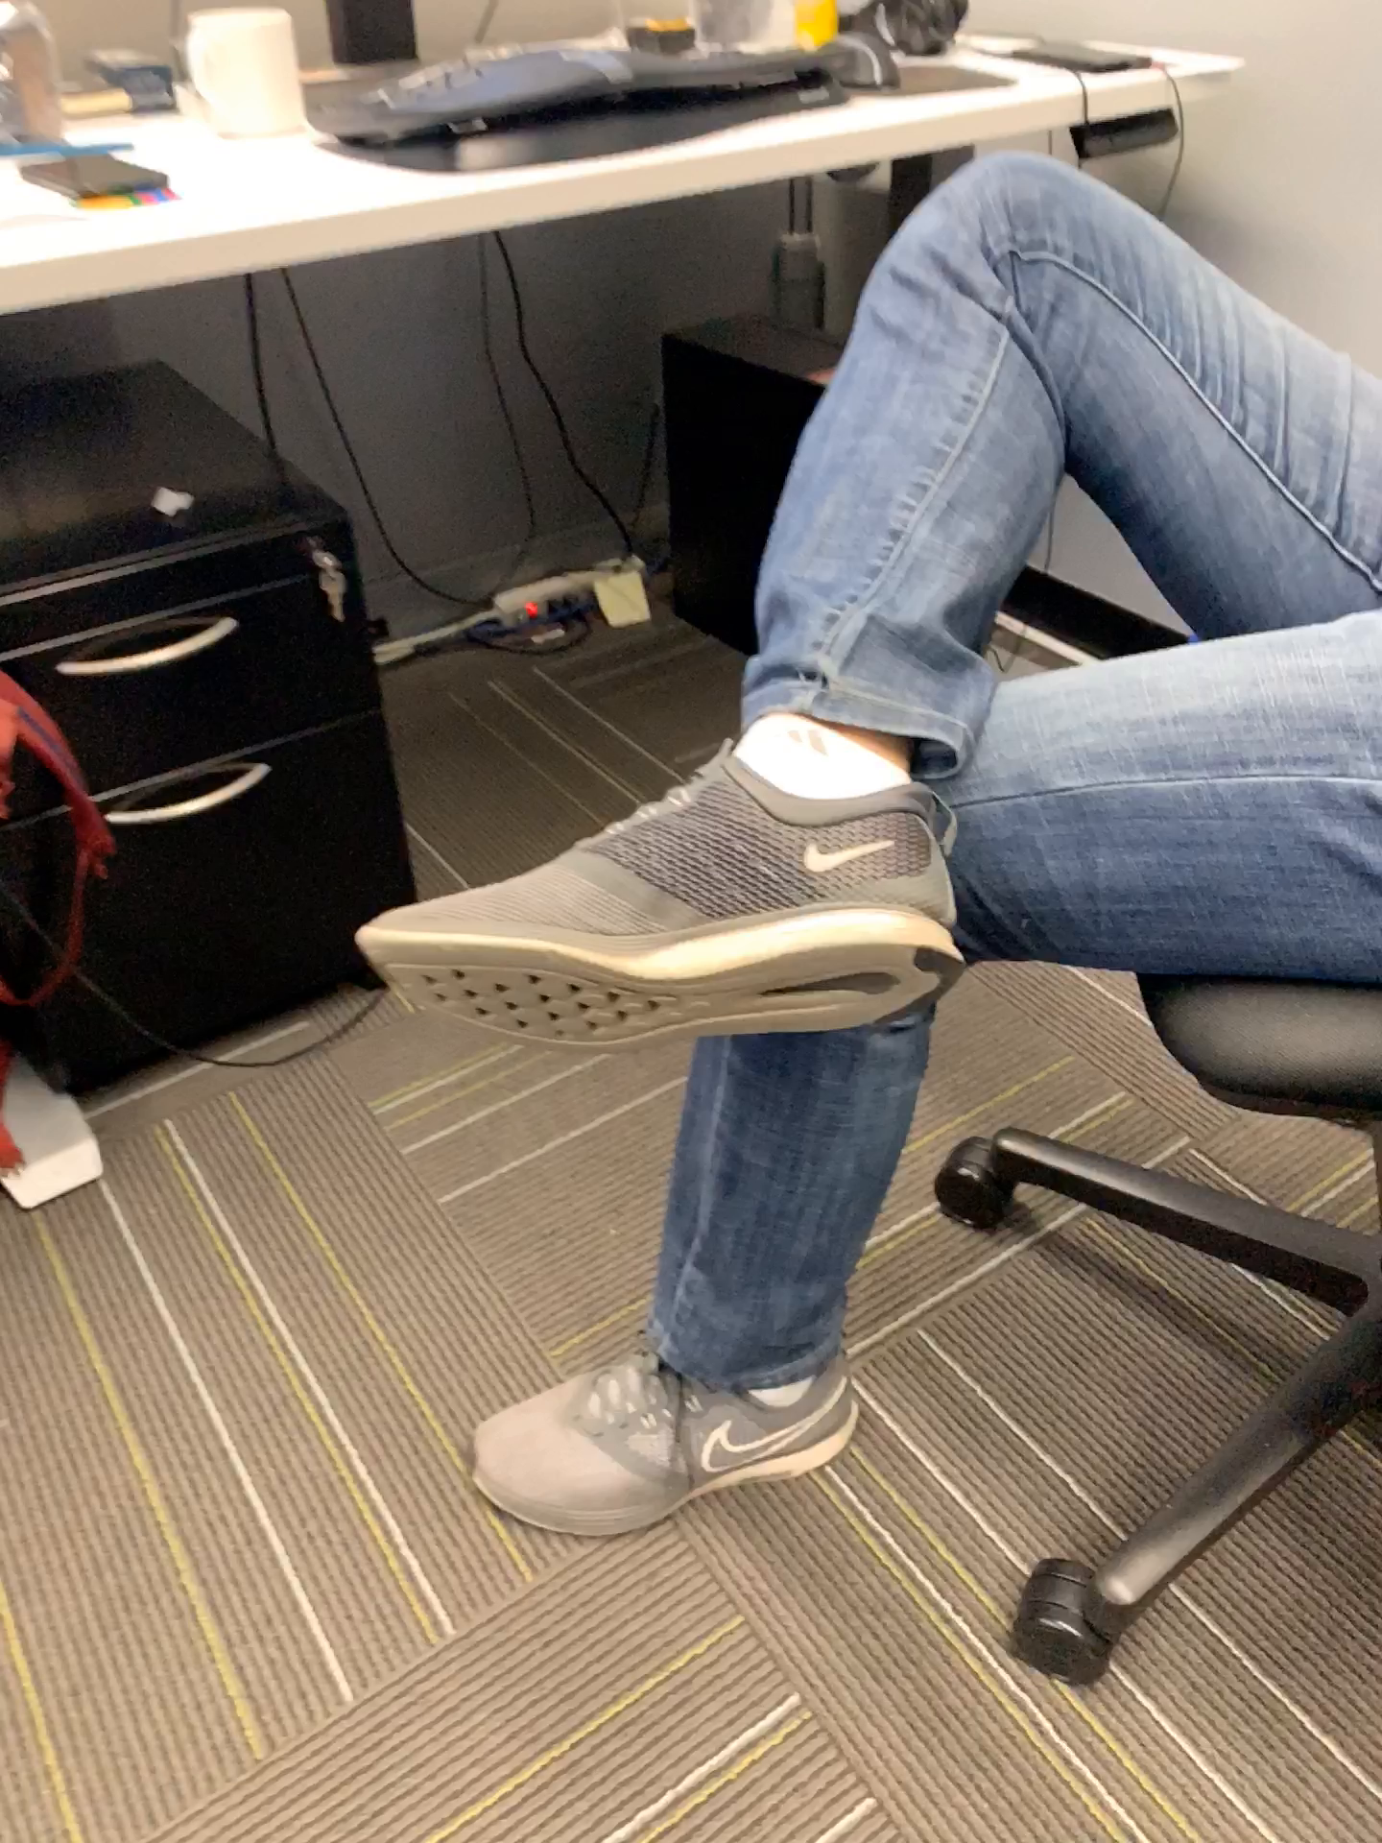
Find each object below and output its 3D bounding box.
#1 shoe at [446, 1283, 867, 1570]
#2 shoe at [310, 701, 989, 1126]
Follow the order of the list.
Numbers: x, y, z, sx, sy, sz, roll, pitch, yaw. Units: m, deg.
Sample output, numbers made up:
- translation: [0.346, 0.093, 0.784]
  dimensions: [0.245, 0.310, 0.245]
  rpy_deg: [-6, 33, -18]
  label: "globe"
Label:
- translation: [-0.027, 0.371, 1.051]
  dimensions: [0.287, 0.092, 0.114]
  rpy_deg: [-9, 38, -9]
  label: "shoe"
- translation: [-0.012, -0.009, 0.697]
  dimensions: [0.295, 0.120, 0.134]
  rpy_deg: [6, 42, 8]
  label: "shoe"
